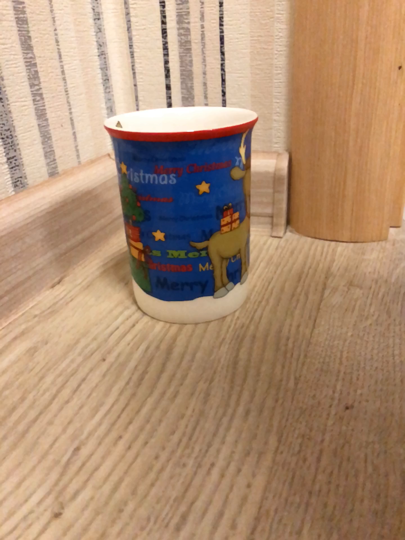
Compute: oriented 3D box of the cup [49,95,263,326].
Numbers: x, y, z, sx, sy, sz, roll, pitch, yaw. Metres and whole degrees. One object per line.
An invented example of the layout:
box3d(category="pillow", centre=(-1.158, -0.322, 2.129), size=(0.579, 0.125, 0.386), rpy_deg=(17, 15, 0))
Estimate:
box3d(category="cup", centre=(-0.012, -0.043, 0.262), size=(0.087, 0.094, 0.121), rpy_deg=(2, 27, 10))
